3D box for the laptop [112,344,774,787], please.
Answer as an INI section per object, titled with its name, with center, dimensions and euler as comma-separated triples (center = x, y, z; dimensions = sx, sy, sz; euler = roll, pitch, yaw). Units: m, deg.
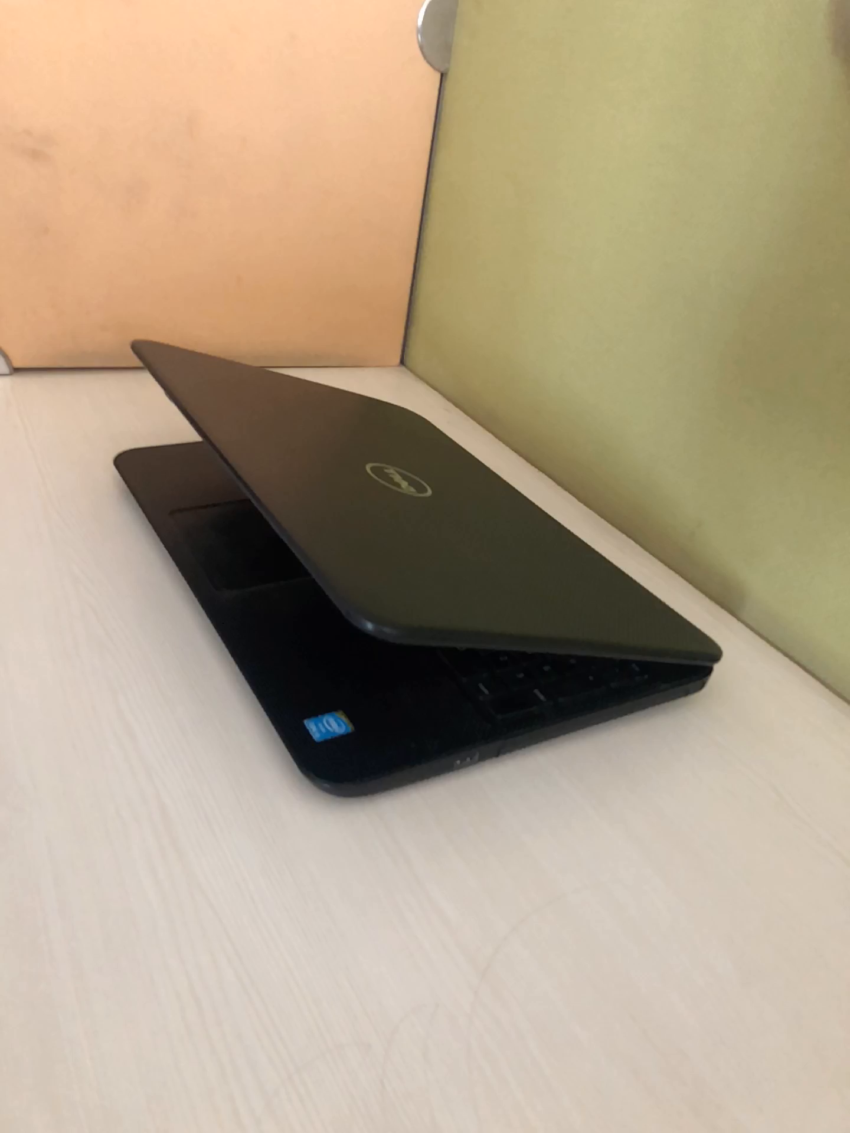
[laptop]
center = -0.019, -0.040, 0.573
dimensions = 0.247, 0.078, 0.354
euler = -9, 34, -29
